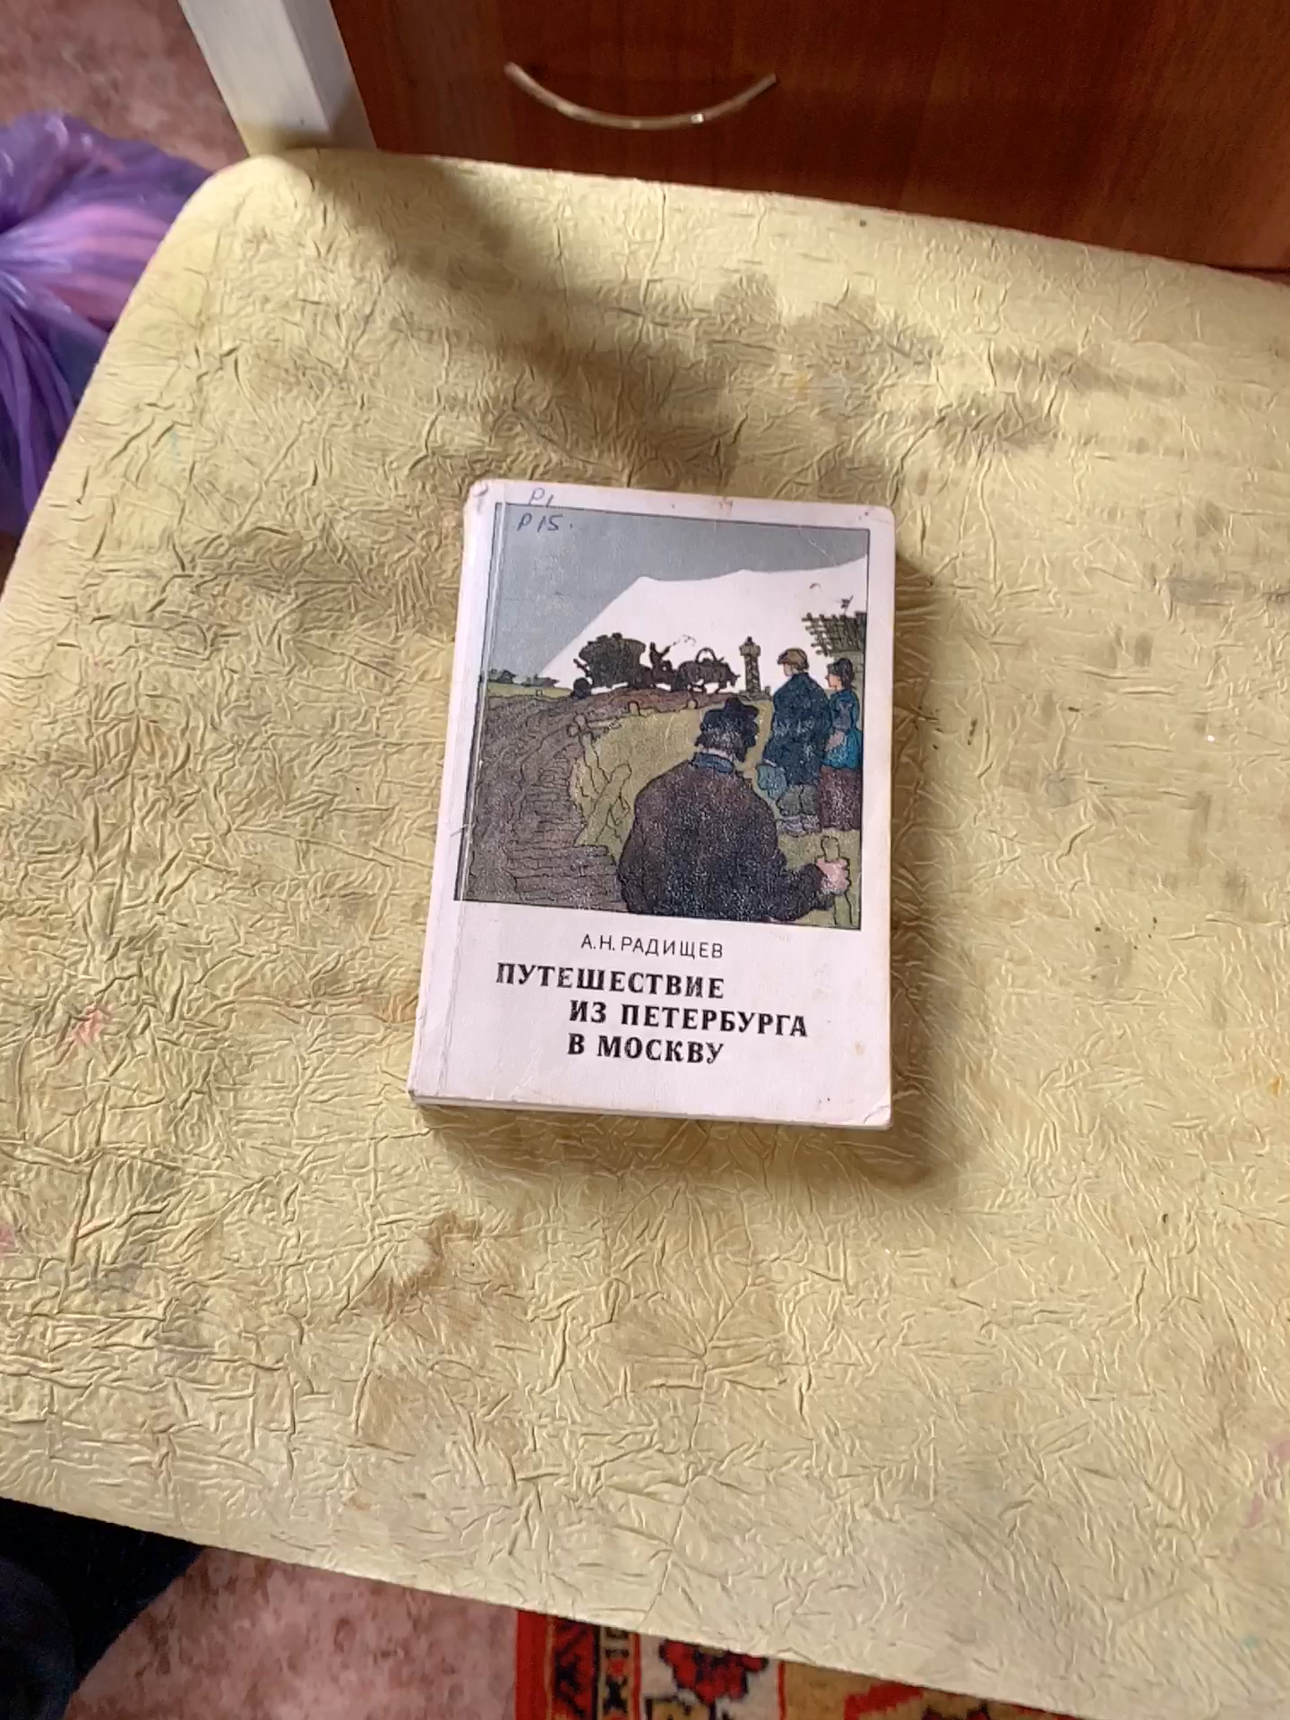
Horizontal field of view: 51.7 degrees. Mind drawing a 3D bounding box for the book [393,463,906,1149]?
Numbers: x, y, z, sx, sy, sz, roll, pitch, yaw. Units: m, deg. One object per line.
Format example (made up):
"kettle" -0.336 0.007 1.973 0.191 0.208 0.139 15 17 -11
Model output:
"book" 0.005 -0.017 0.325 0.111 0.020 0.162 4 73 0
